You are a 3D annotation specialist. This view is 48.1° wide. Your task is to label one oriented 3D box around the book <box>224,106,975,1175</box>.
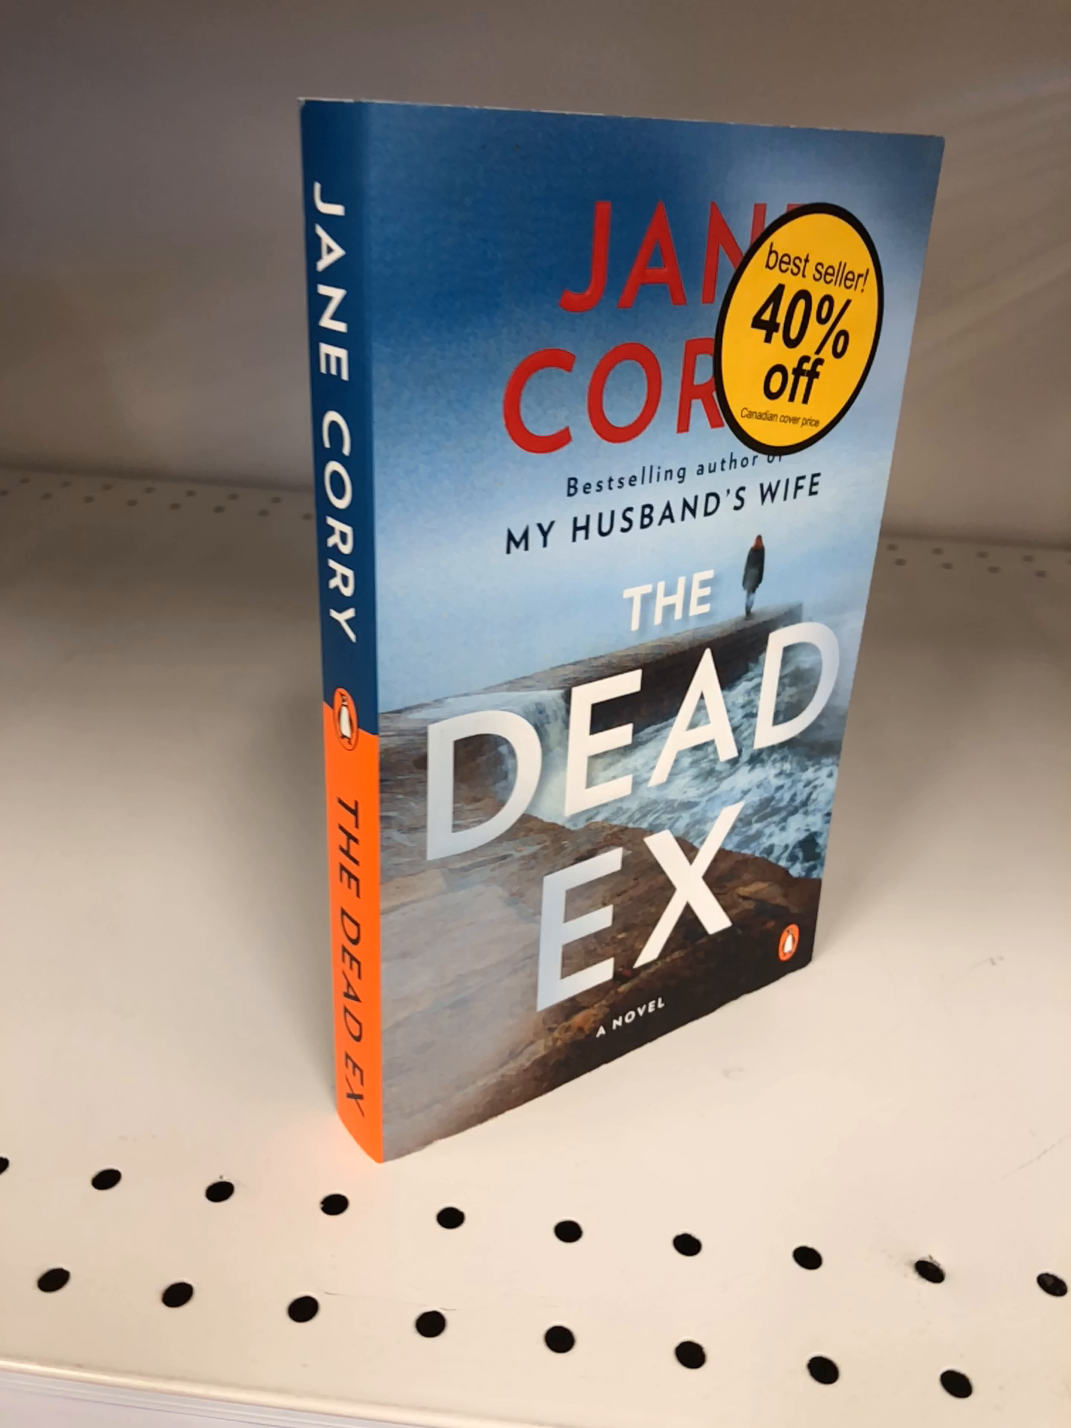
[{"bbox_3d":[0.016,-0.017,0.271,0.146,0.211,0.040,-16,31,-31],"label":"book"}]
